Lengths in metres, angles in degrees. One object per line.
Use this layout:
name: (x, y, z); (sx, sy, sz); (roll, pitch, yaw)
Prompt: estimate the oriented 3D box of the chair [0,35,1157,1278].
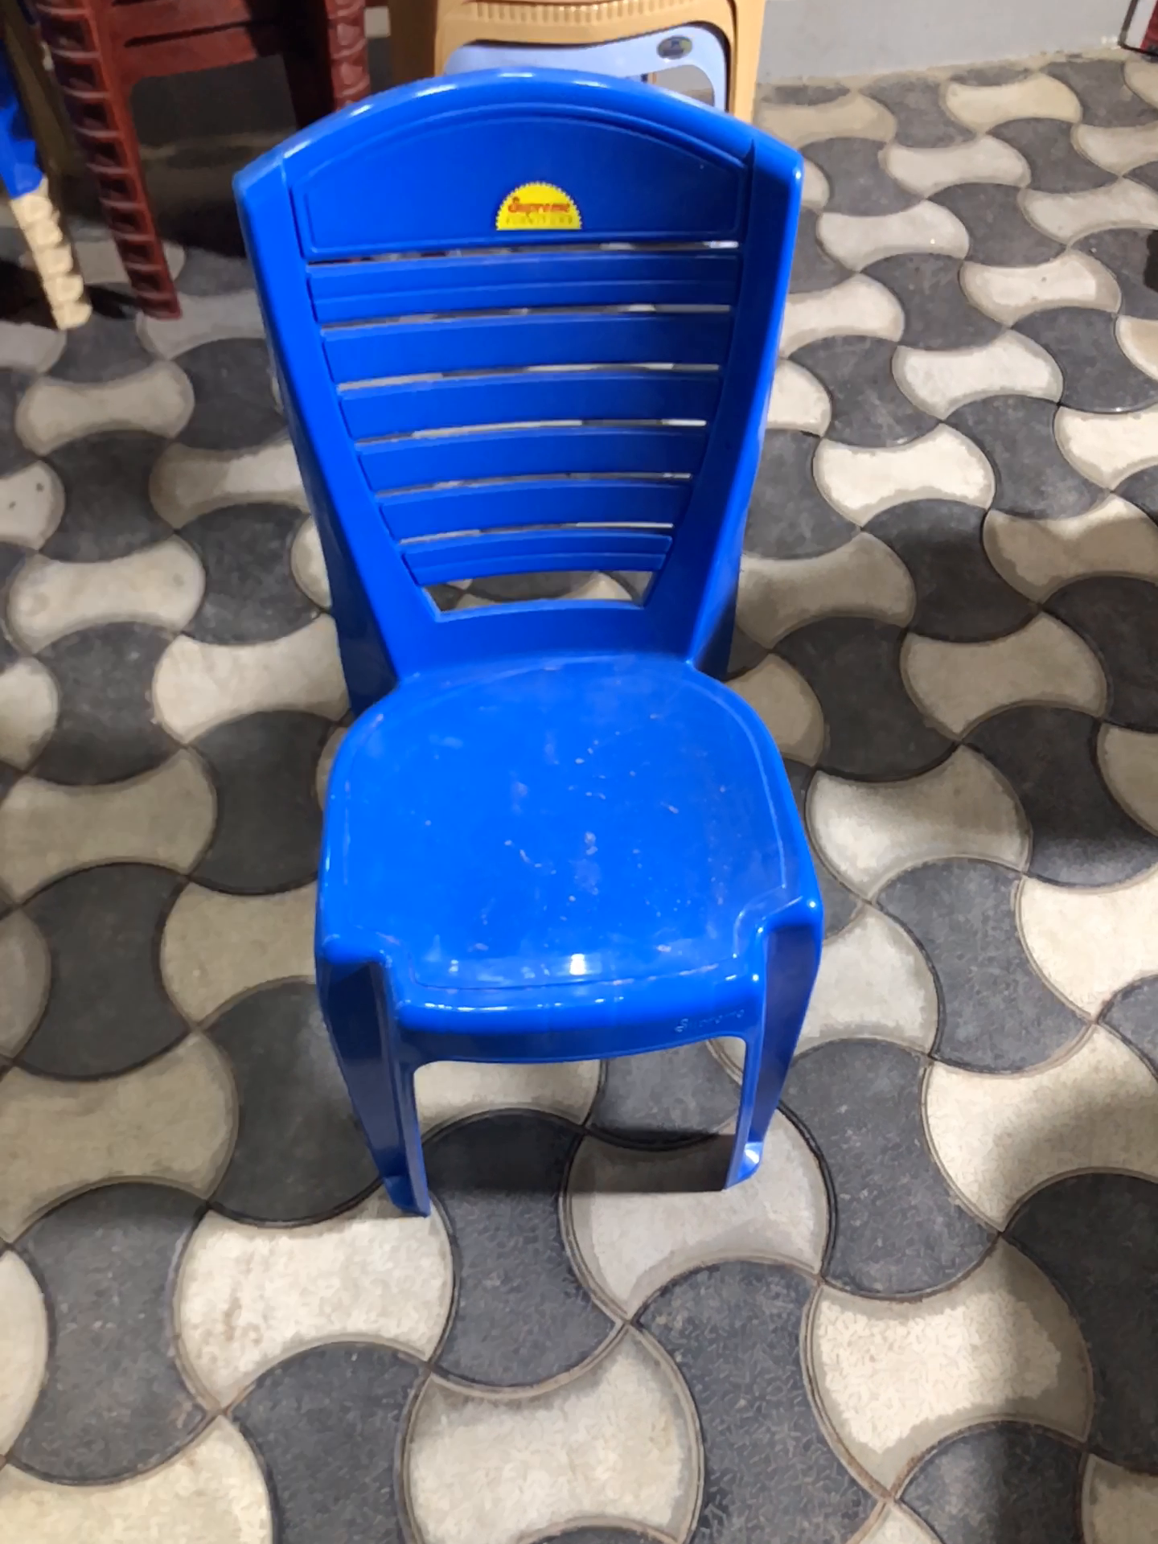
chair: (-0.021, -0.022, 0.920); (0.470, 0.726, 0.513); (-3, 53, -2)
